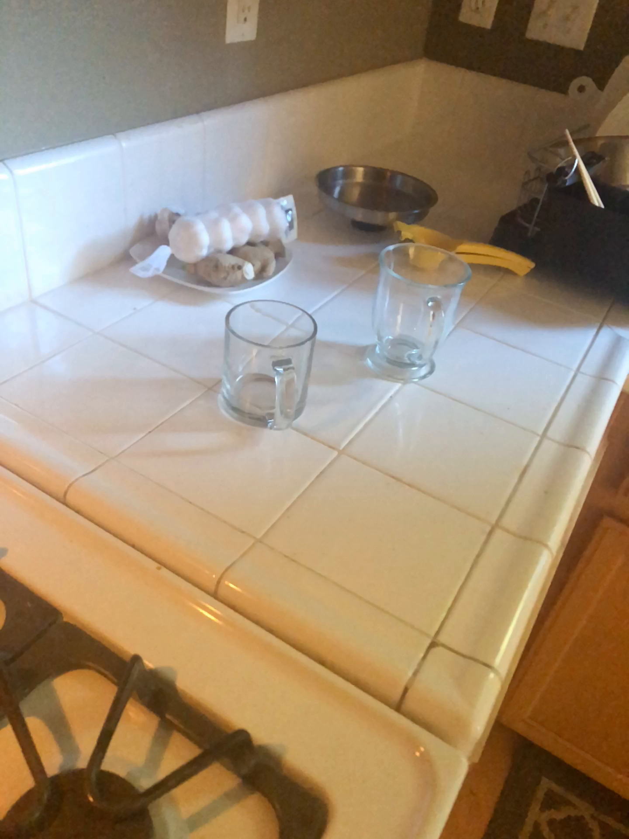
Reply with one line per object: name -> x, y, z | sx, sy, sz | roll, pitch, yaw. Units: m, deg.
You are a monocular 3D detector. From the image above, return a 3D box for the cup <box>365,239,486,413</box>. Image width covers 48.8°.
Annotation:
cup -> 0.109, -0.100, 0.724 | 0.090, 0.119, 0.131 | 8, 38, -3

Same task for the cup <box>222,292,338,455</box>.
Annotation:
cup -> -0.038, -0.045, 0.650 | 0.090, 0.089, 0.131 | 2, 39, -10
